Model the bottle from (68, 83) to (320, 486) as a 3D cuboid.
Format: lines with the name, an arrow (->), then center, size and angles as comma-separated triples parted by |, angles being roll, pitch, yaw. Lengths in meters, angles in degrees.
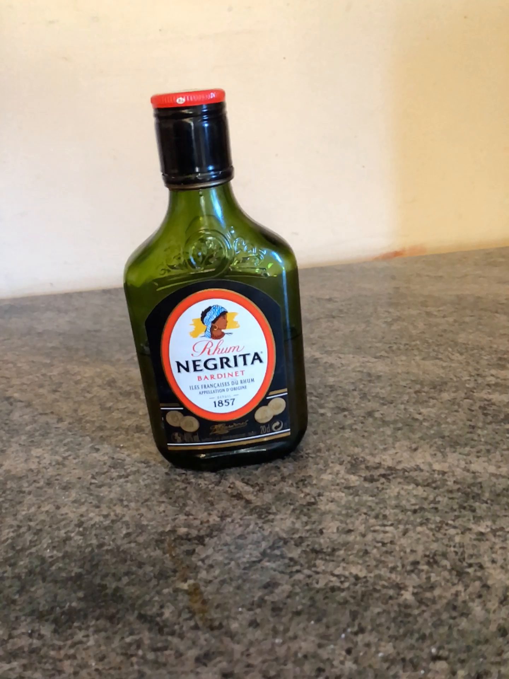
bottle -> -0.019, -0.021, 0.247 | 0.080, 0.159, 0.050 | -6, 24, -3
